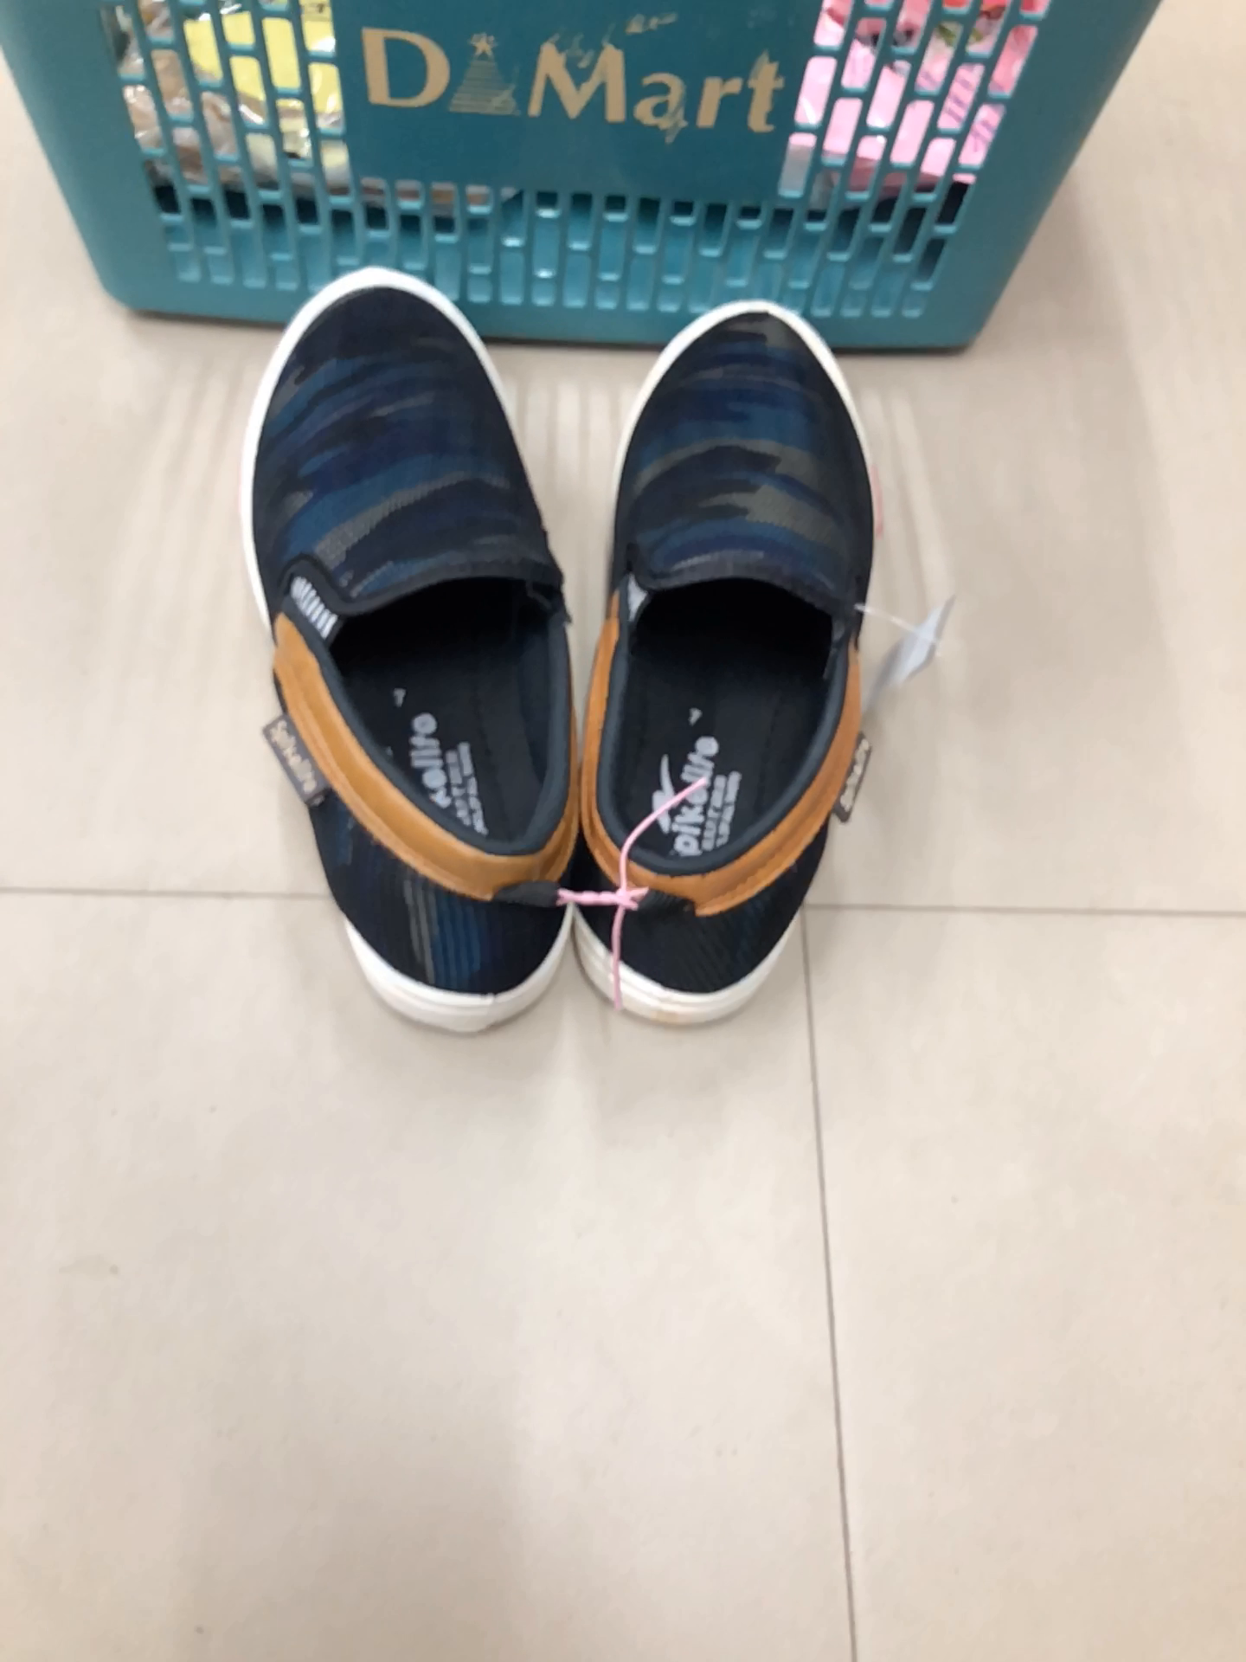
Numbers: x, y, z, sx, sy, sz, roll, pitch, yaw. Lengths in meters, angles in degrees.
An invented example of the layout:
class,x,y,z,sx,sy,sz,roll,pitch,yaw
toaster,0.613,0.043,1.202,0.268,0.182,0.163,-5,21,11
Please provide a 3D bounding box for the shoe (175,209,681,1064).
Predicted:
class,x,y,z,sx,sy,sz,roll,pitch,yaw
shoe,-0.067,-0.065,0.446,0.105,0.107,0.239,-10,66,-10

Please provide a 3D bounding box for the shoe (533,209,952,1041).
class,x,y,z,sx,sy,sz,roll,pitch,yaw
shoe,0.040,-0.068,0.457,0.105,0.107,0.240,8,65,-2
